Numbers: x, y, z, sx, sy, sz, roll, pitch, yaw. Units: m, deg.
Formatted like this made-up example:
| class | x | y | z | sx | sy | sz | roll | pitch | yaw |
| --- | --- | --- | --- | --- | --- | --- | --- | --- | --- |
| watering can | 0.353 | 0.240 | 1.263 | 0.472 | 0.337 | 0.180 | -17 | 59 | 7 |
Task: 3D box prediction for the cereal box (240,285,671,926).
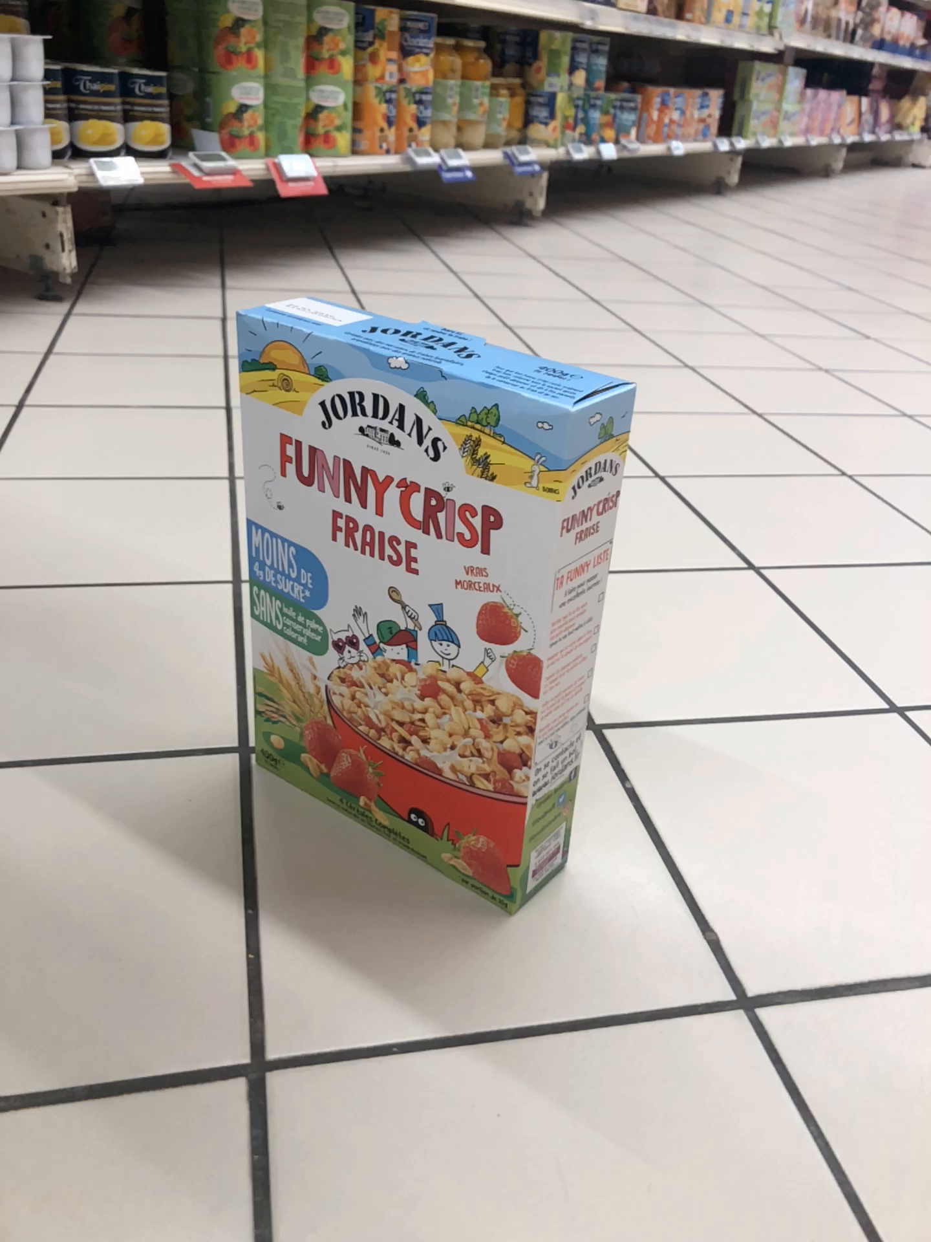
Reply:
| class | x | y | z | sx | sy | sz | roll | pitch | yaw |
| --- | --- | --- | --- | --- | --- | --- | --- | --- | --- |
| cereal box | -0.018 | -0.009 | 0.443 | 0.170 | 0.229 | 0.050 | 23 | 33 | 31 |
